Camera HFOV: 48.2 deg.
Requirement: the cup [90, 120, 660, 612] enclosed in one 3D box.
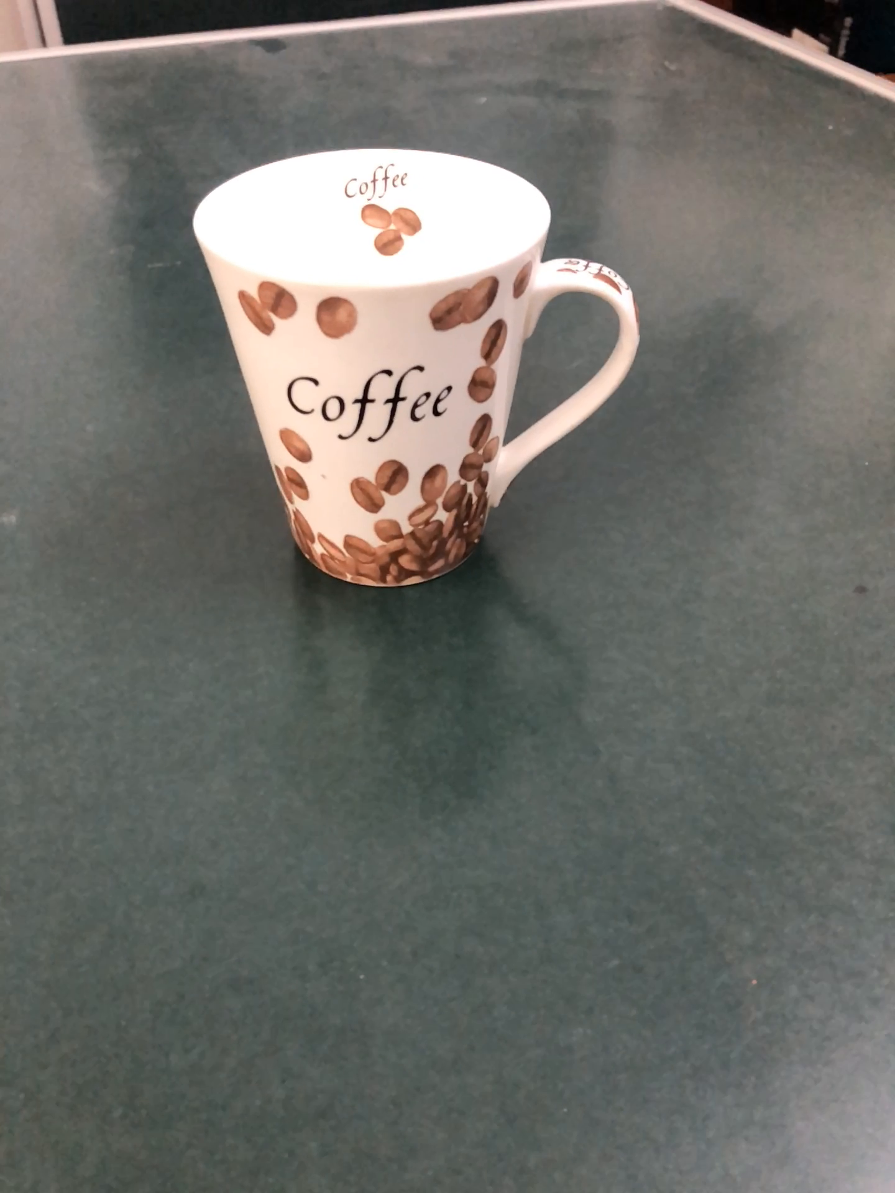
[{"bbox_3d":[-0.011,-0.066,0.275,0.120,0.090,0.100,4,42,5],"label":"cup"}]
